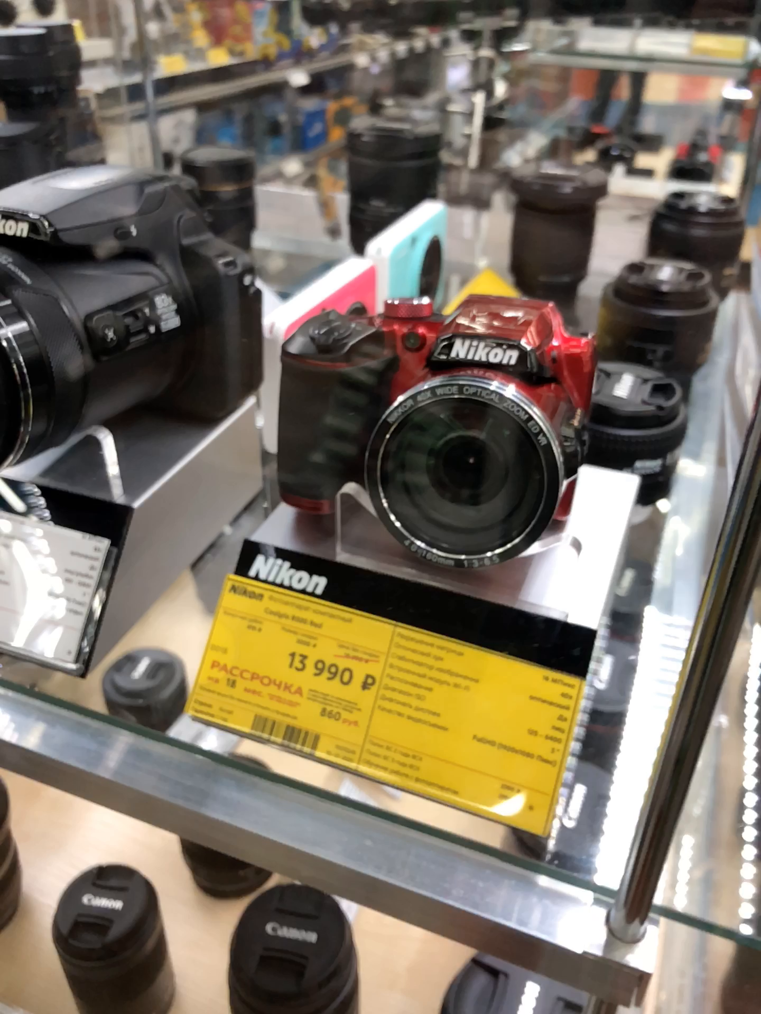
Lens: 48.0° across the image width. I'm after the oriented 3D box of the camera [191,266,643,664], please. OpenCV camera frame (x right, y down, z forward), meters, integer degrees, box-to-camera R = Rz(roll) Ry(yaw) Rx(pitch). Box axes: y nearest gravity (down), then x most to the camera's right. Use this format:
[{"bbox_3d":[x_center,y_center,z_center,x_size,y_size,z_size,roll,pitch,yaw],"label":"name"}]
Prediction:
[{"bbox_3d":[0.018,-0.024,0.305,0.120,0.076,0.111,13,35,18],"label":"camera"}]
